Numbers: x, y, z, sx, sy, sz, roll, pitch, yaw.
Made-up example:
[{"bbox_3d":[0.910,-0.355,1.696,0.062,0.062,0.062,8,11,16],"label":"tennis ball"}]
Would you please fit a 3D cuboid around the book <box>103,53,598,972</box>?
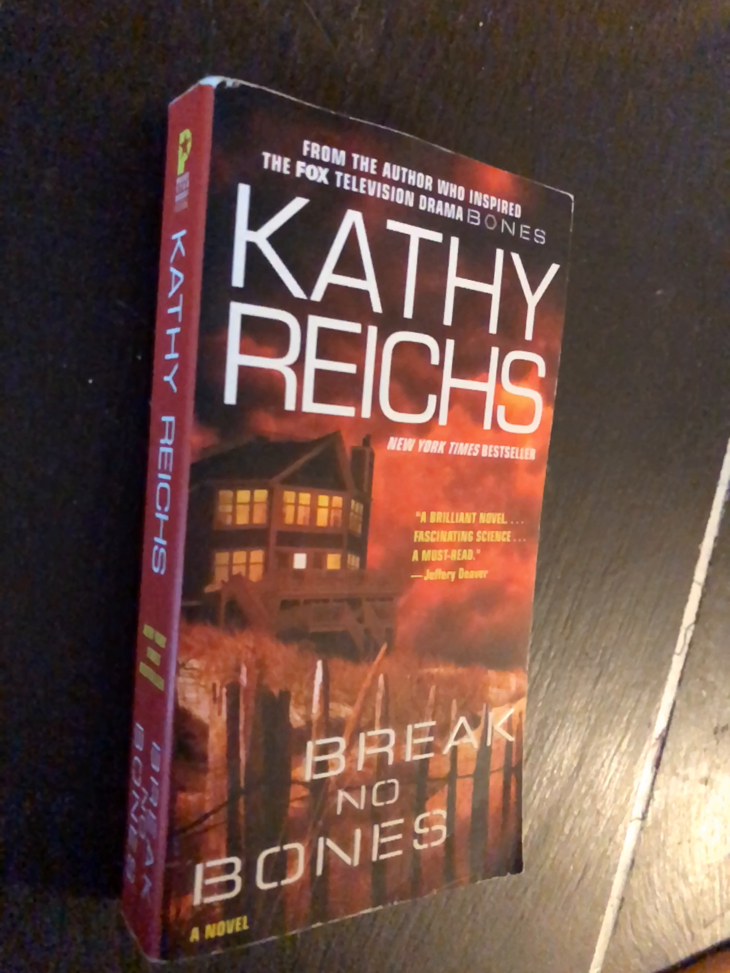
[{"bbox_3d":[0.000,0.011,0.205,0.108,0.030,0.189,3,94,-33],"label":"book"}]
